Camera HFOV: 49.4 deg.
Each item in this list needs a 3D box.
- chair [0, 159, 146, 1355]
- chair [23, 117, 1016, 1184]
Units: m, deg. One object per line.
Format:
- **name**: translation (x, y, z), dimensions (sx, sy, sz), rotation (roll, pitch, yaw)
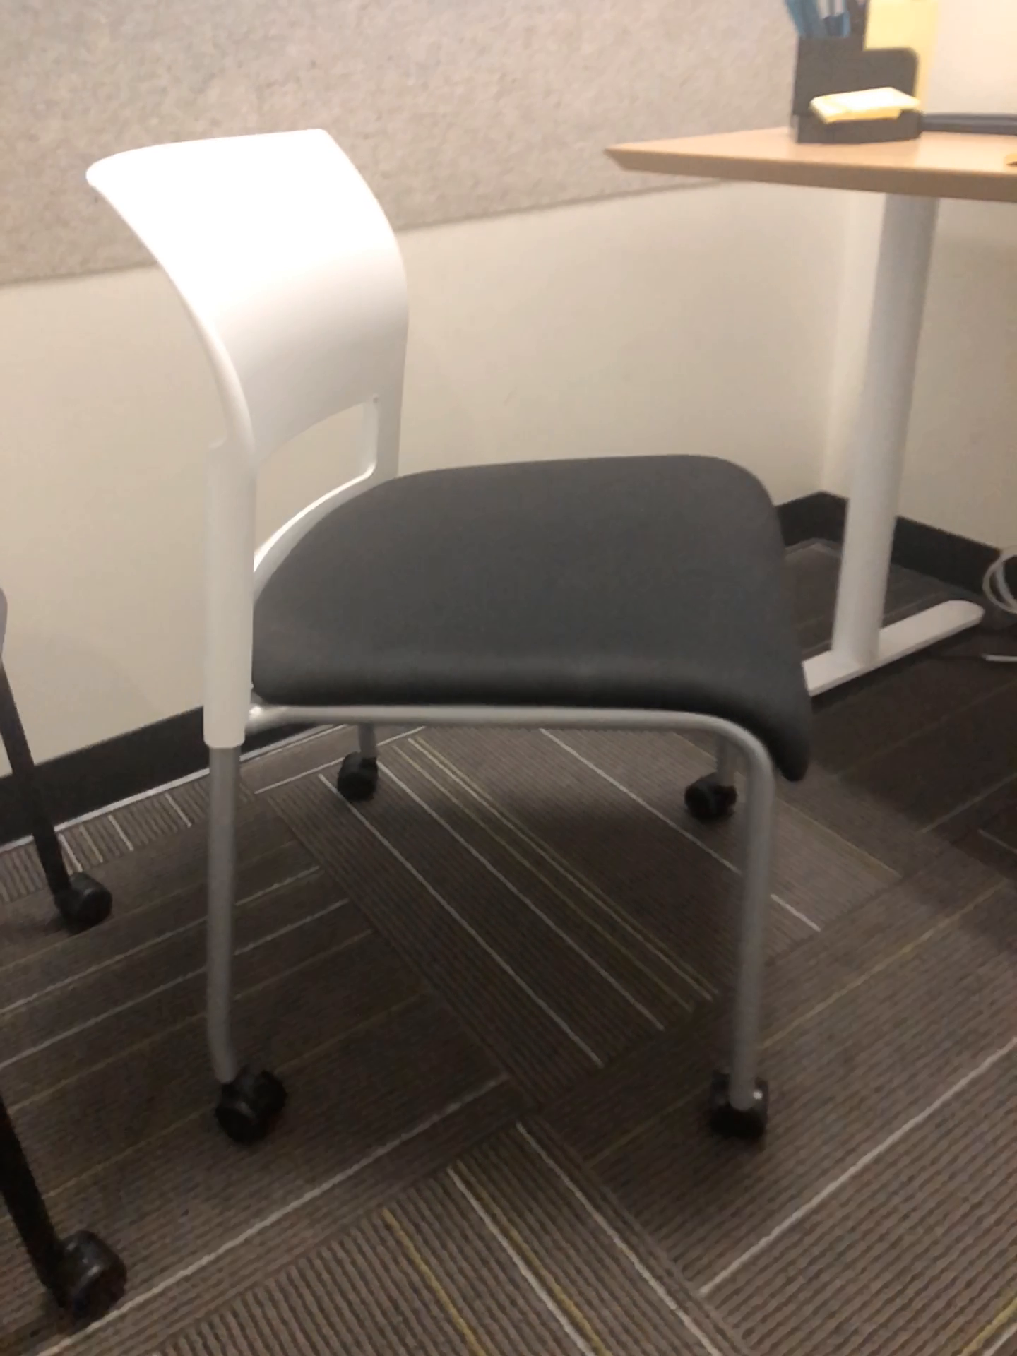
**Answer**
- **chair**: translation (-0.735, 0.087, 0.960), dimensions (0.651, 0.933, 0.704), rotation (-9, 29, -16)
- **chair**: translation (0.009, -0.071, 1.248), dimensions (0.650, 0.962, 0.706), rotation (2, 29, 1)
